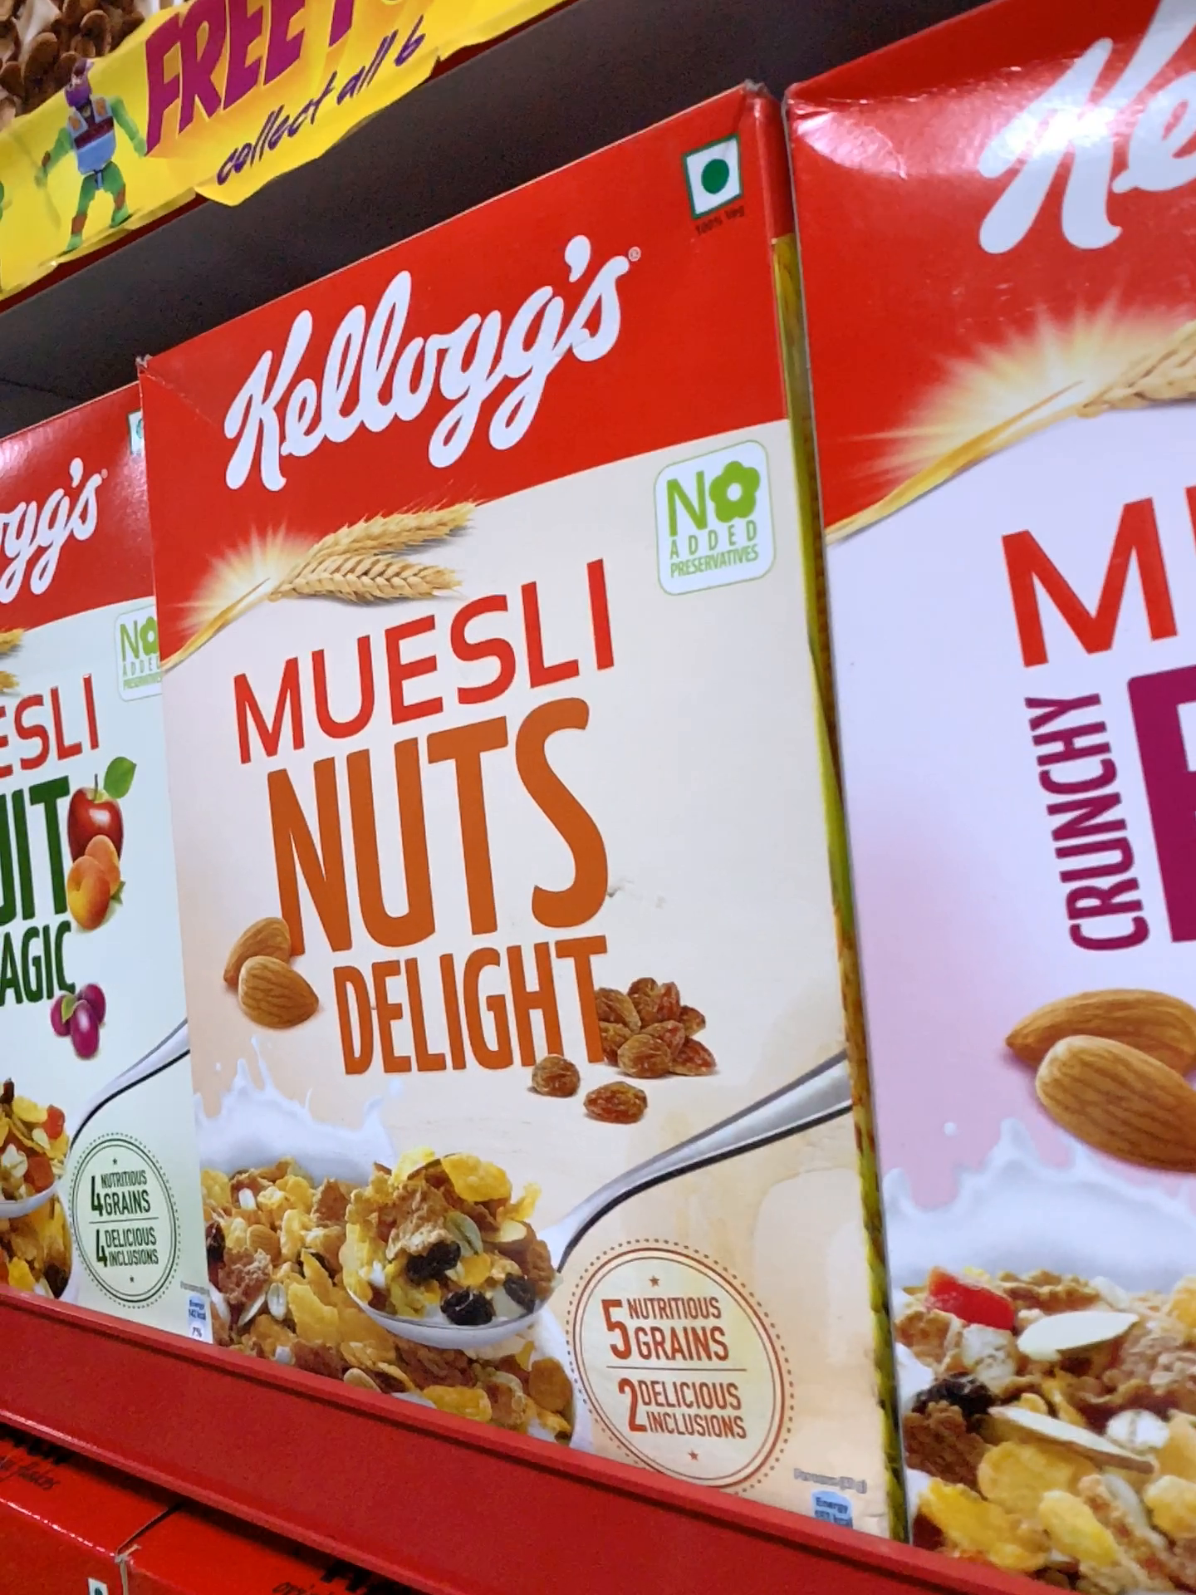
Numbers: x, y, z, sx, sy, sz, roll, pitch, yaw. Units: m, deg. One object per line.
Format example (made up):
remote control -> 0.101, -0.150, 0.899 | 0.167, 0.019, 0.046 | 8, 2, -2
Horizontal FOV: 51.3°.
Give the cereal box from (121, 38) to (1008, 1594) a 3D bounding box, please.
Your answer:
cereal box -> -0.017, 0.008, 0.268 | 0.170, 0.250, 0.060 | -5, -2, 35
